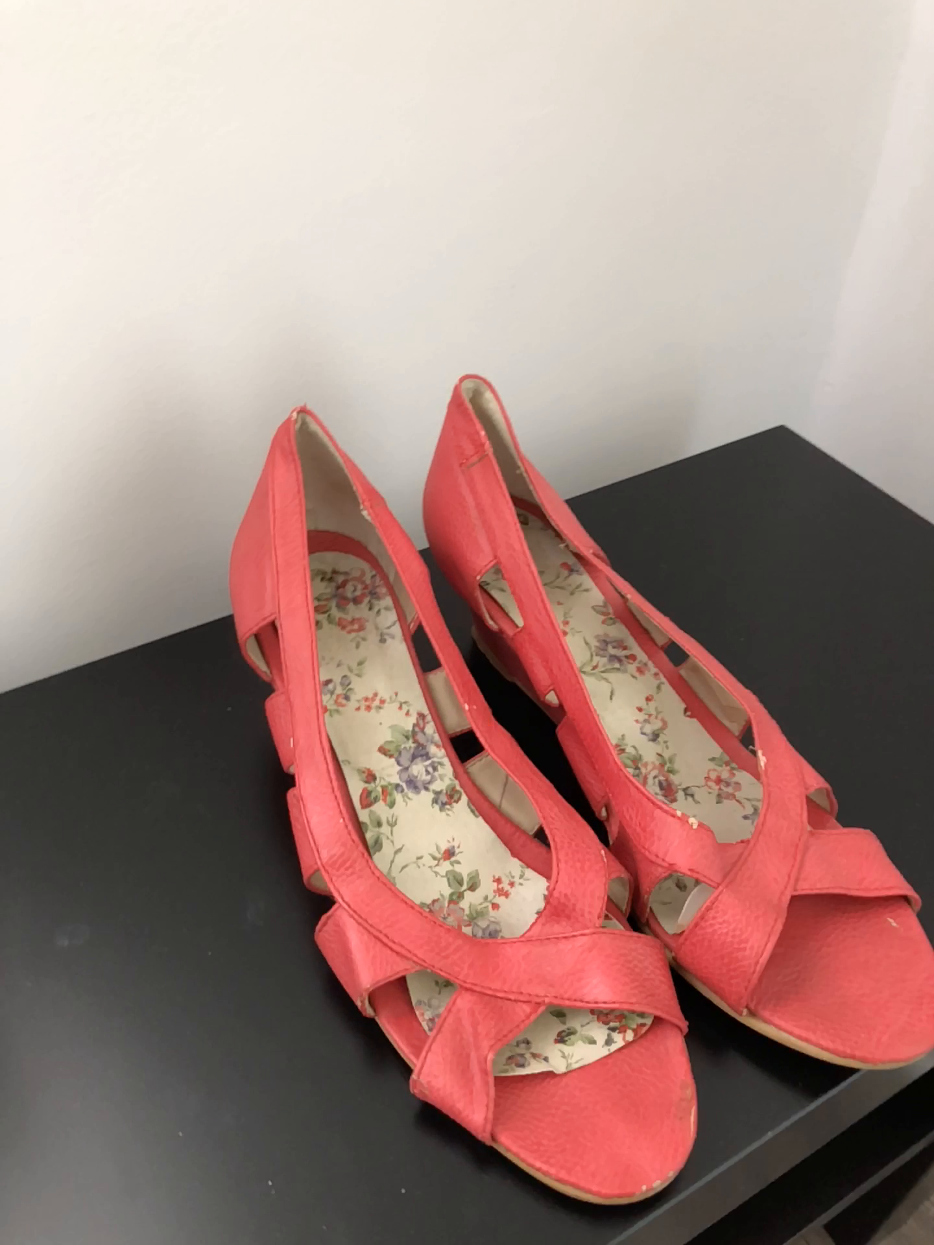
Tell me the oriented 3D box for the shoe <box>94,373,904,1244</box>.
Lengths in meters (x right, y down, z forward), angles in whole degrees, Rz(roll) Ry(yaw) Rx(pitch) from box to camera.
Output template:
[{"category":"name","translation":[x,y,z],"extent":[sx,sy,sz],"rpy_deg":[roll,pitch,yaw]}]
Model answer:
[{"category":"shoe","translation":[-0.014,0.035,0.279],"extent":[0.087,0.100,0.221],"rpy_deg":[-21,47,-24]}]

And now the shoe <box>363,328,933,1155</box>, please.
[{"category":"shoe","translation":[0.059,0.013,0.307],"extent":[0.077,0.100,0.231],"rpy_deg":[-21,47,-24]}]
